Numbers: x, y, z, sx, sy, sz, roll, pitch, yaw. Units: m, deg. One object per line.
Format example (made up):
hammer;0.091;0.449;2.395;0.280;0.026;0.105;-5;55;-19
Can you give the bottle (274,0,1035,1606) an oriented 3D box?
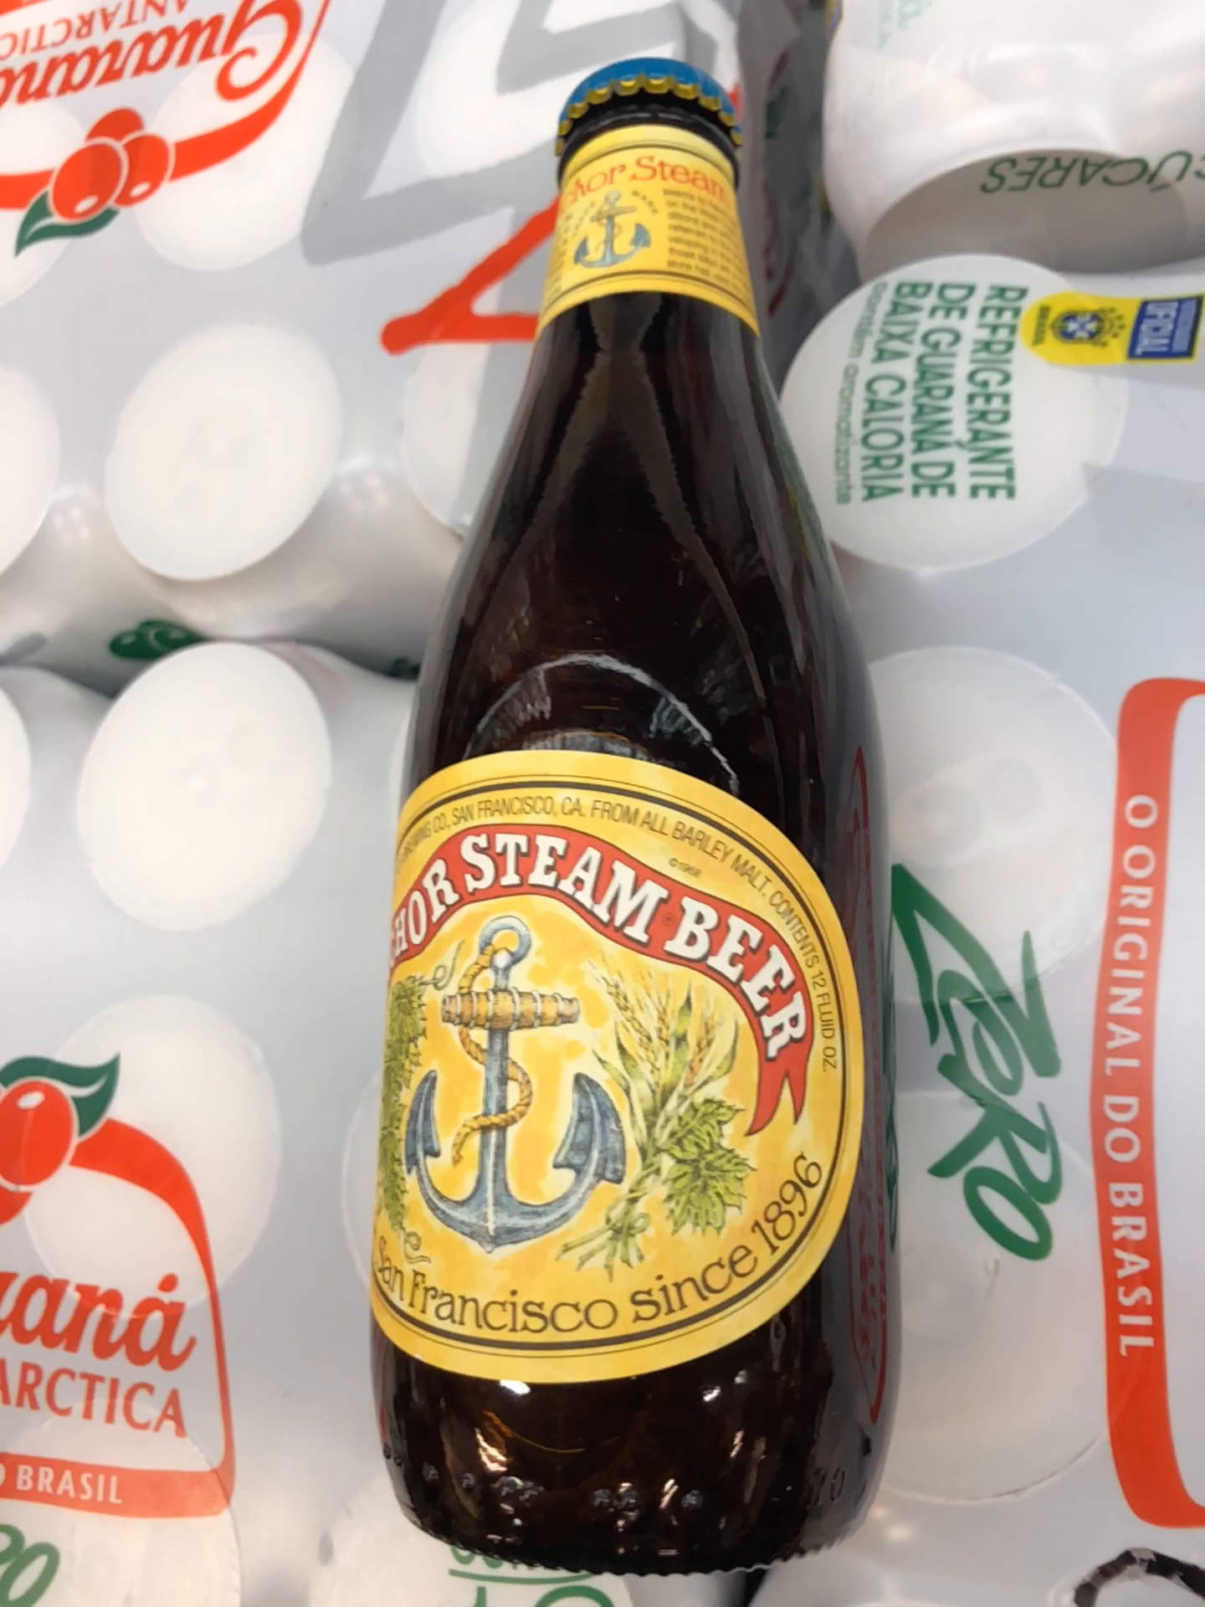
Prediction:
bottle;0.010;-0.021;0.176;0.070;0.060;0.220;-5;77;20
